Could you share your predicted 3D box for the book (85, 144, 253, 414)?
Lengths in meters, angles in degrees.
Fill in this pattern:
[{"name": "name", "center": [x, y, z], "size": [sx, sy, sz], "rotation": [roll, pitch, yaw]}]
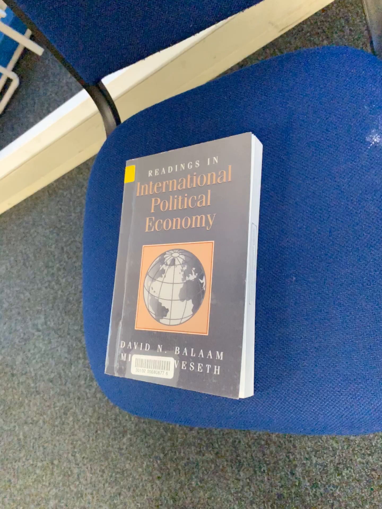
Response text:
[{"name": "book", "center": [-0.022, 0.019, 0.369], "size": [0.151, 0.030, 0.220], "rotation": [-3, 77, 32]}]
